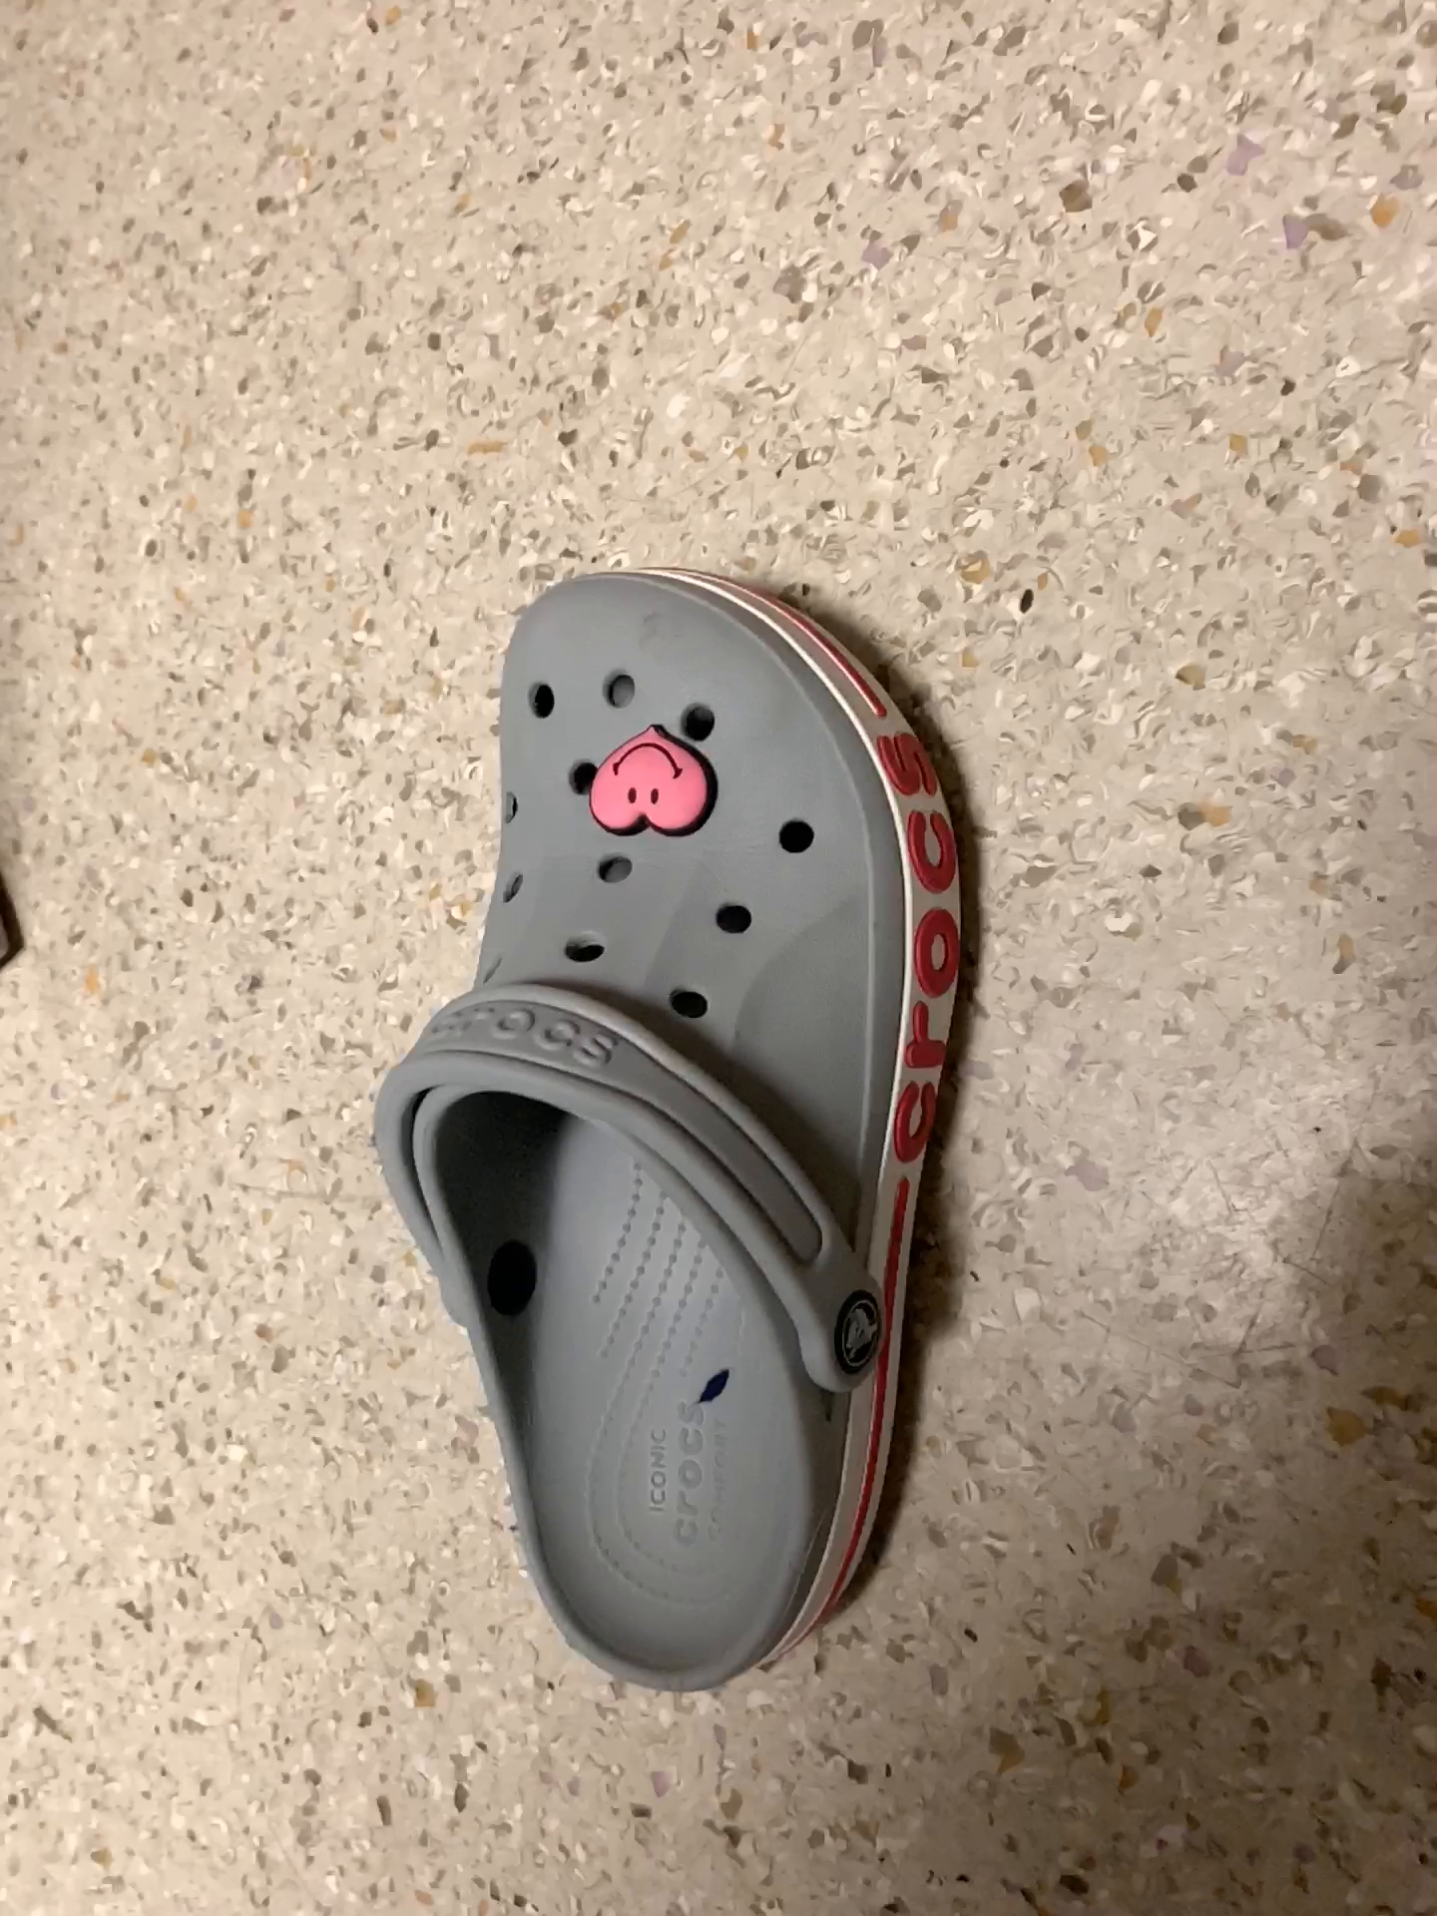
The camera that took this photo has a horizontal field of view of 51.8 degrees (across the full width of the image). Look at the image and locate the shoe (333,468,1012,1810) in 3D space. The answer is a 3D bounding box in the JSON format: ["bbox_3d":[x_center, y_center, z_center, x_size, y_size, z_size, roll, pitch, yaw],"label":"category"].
[{"bbox_3d":[-0.007,0.032,0.318,0.110,0.091,0.226,-3,84,30],"label":"shoe"}]
